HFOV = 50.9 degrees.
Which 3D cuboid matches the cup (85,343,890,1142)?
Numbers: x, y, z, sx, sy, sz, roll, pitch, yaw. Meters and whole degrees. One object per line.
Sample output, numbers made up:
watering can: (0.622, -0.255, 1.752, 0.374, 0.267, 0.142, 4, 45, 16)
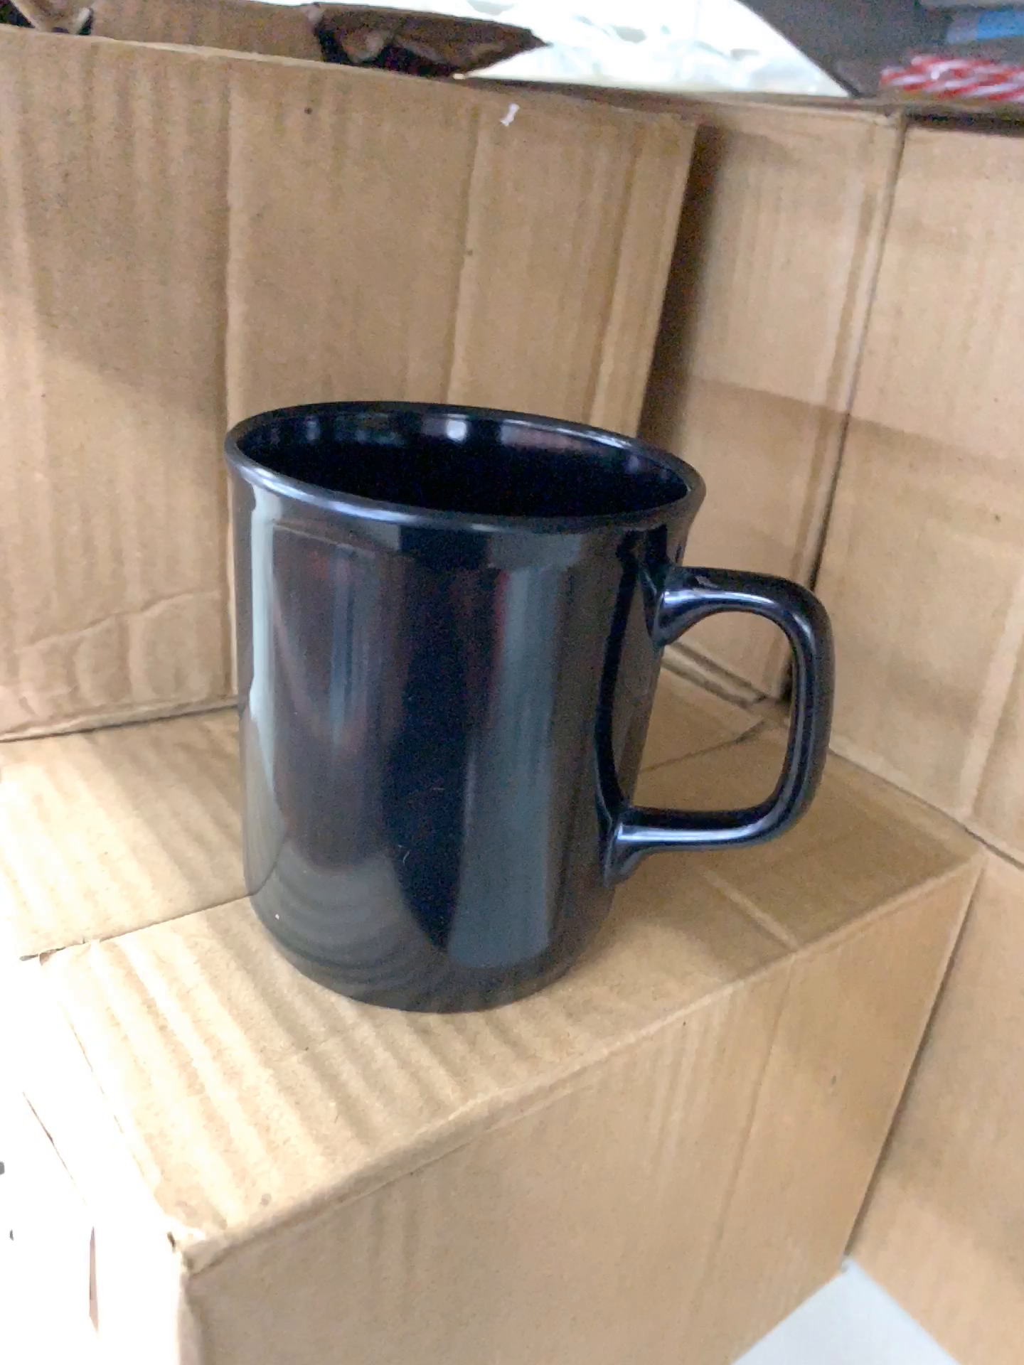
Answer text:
cup: (0.000, 0.001, 0.178, 0.100, 0.089, 0.070, 12, 28, 16)
